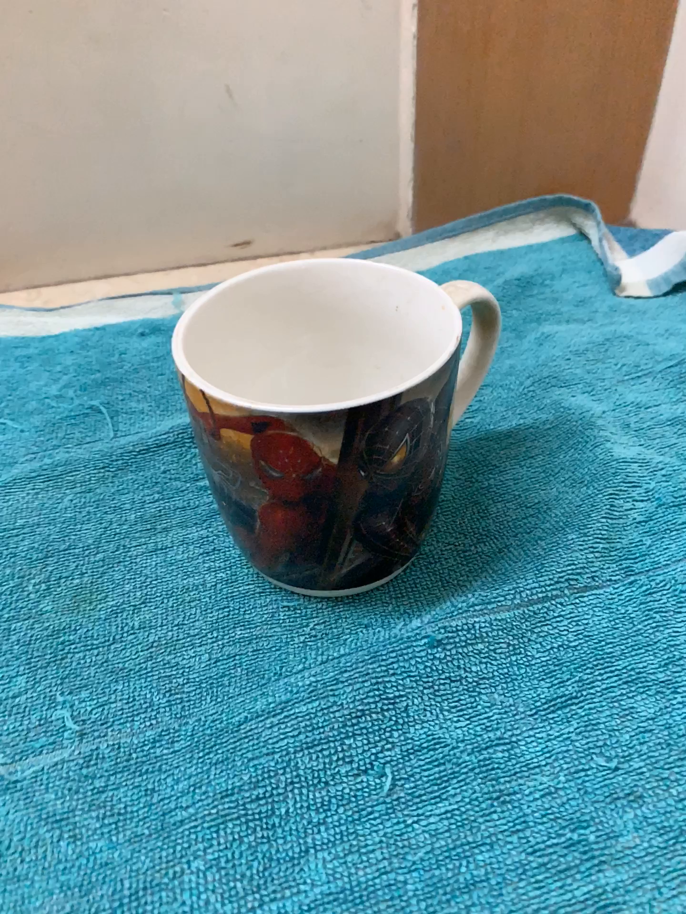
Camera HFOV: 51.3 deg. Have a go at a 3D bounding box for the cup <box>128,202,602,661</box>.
[{"bbox_3d":[0.009,-0.016,0.245,0.120,0.089,0.081,-28,46,-27],"label":"cup"}]
